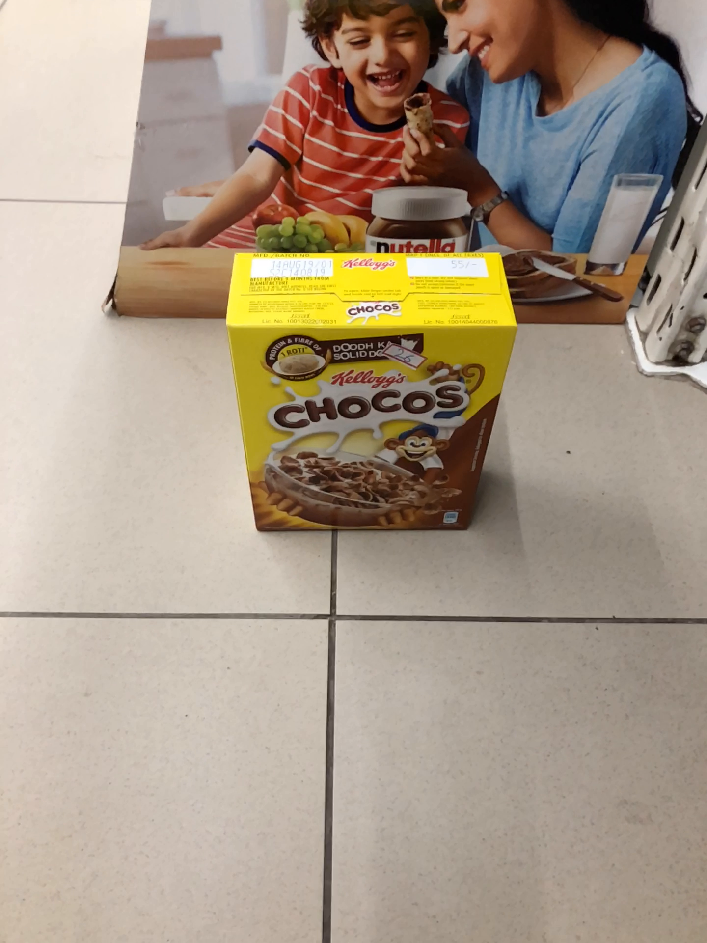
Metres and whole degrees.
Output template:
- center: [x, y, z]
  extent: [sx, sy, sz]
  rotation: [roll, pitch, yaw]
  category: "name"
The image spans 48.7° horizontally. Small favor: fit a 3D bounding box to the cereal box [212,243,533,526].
- center: [0.006, -0.037, 0.424]
  extent: [0.140, 0.169, 0.050]
  rotation: [0, 54, -2]
  category: "cereal box"
